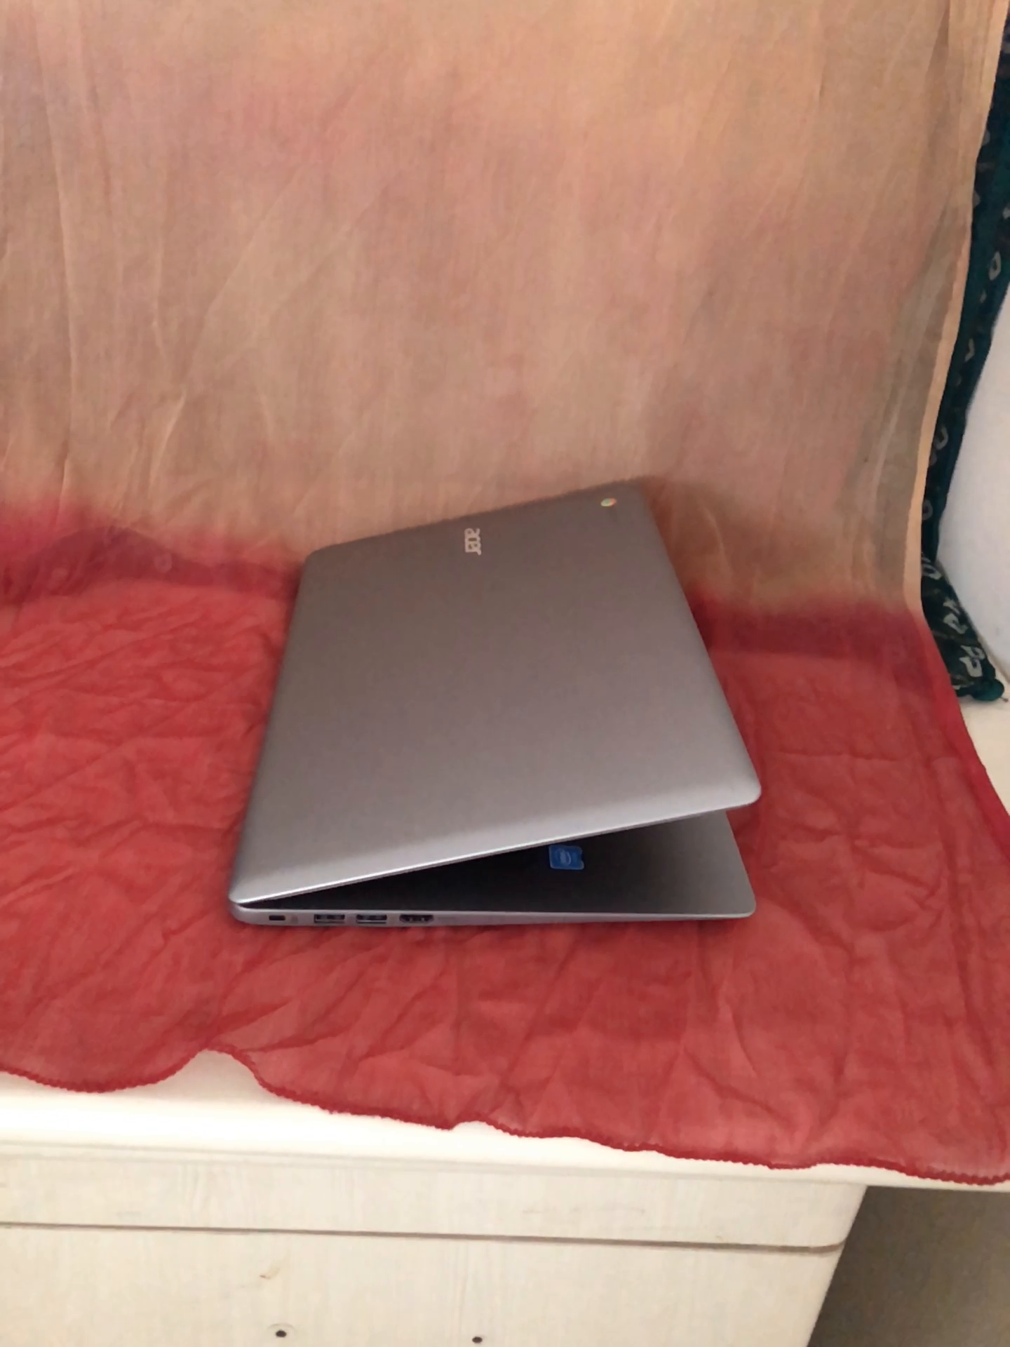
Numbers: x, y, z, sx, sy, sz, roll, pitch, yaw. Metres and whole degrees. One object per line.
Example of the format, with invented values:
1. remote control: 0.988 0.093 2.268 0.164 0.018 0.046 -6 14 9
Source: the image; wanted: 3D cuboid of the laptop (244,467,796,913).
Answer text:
1. laptop: -0.002 -0.014 0.592 0.219 0.065 0.324 1 33 -3
